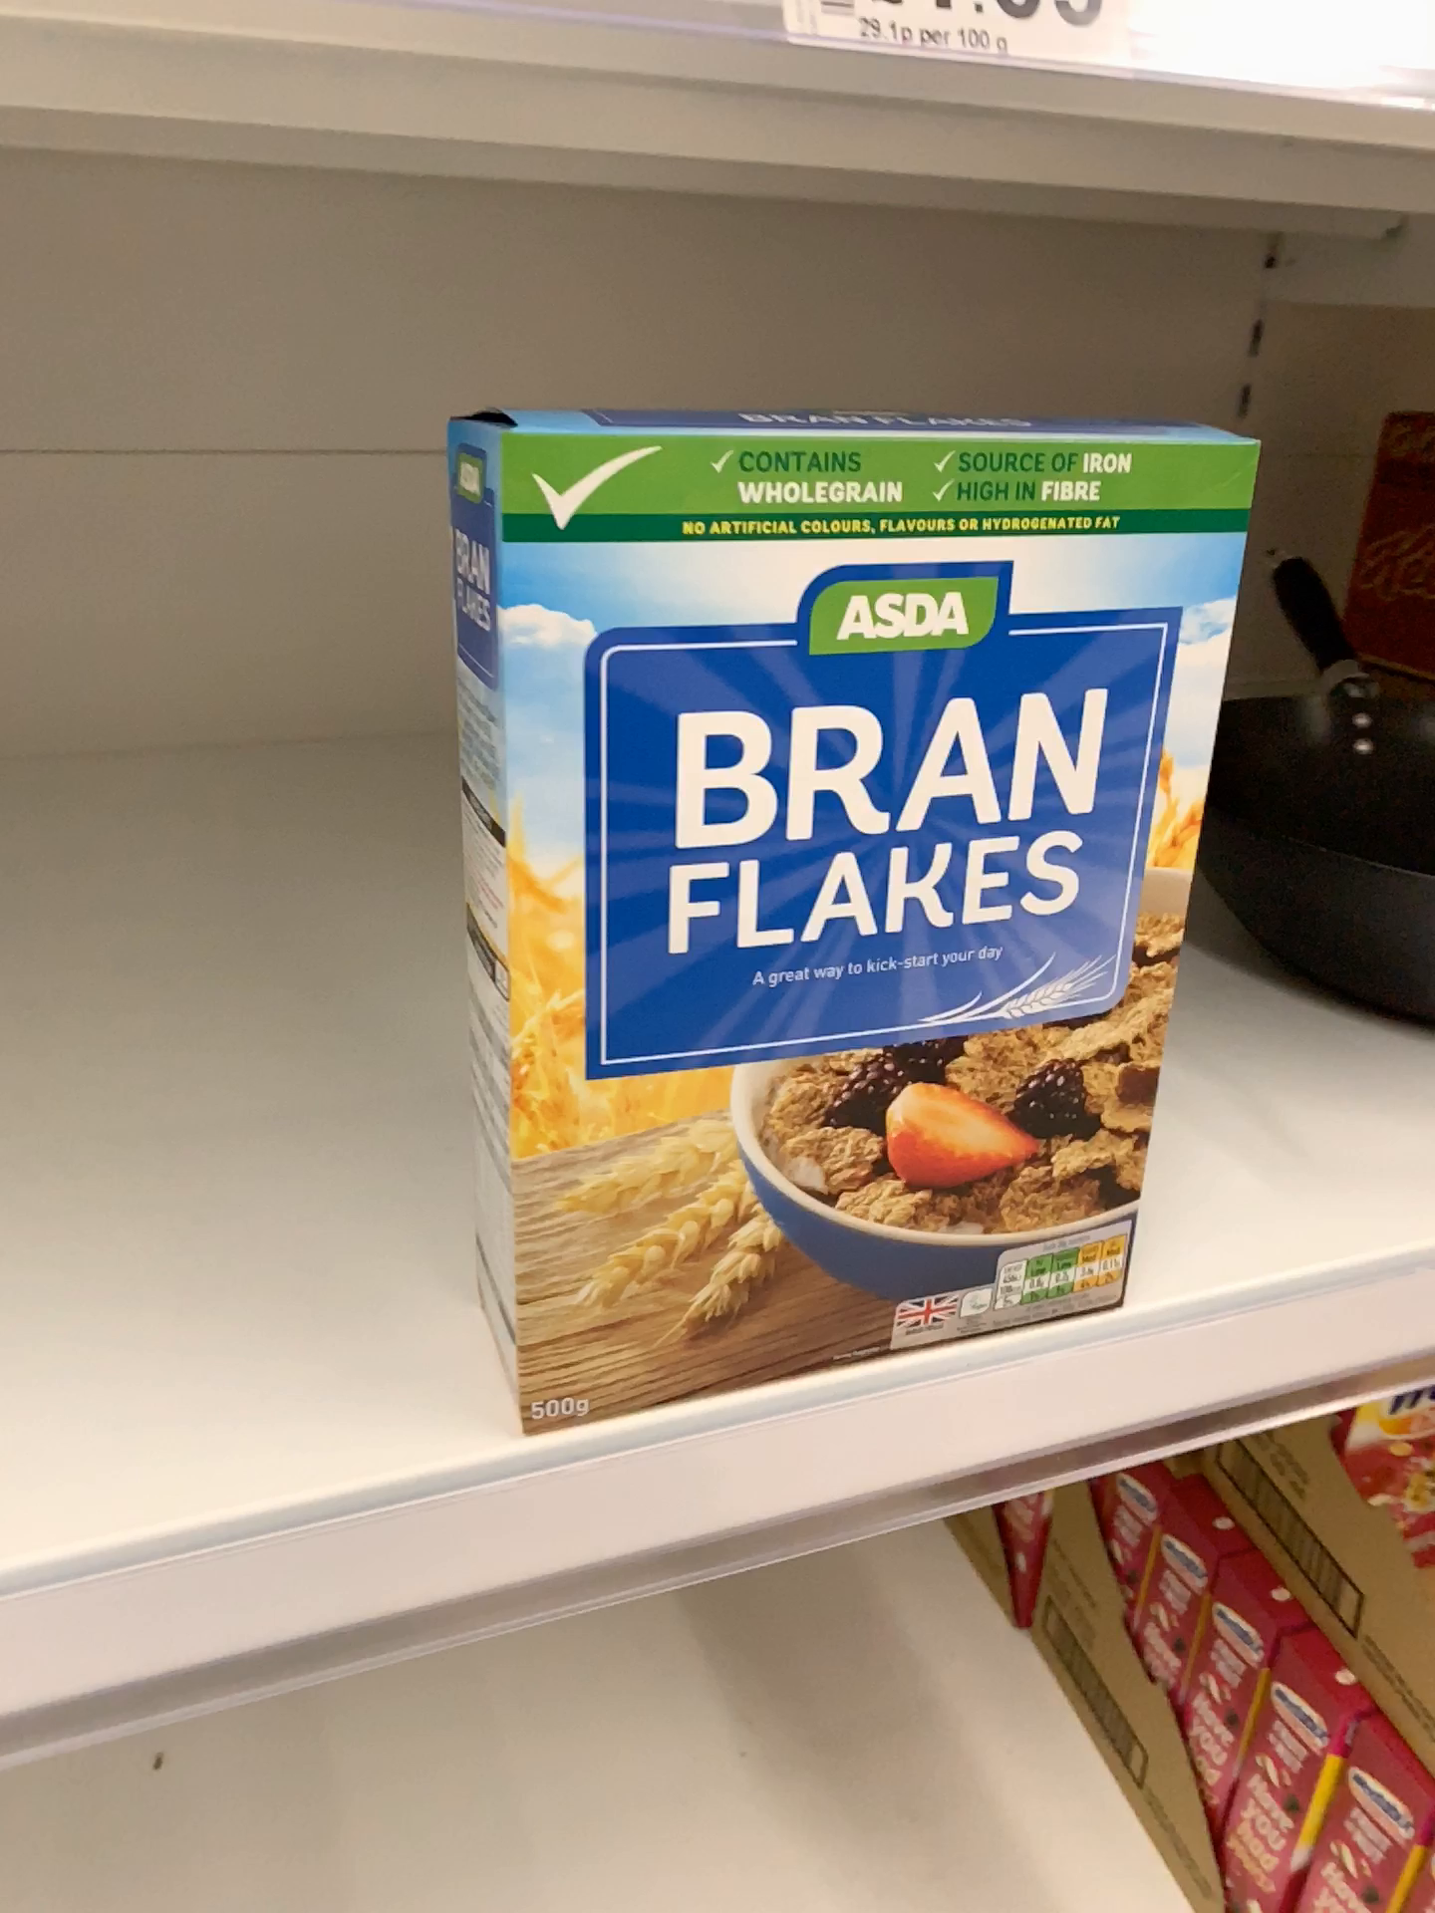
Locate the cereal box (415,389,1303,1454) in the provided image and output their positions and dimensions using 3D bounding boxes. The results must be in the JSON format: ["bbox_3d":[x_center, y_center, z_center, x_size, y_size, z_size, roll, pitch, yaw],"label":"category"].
[{"bbox_3d":[0.034,-0.016,0.438,0.220,0.278,0.080,-6,22,-20],"label":"cereal box"}]
